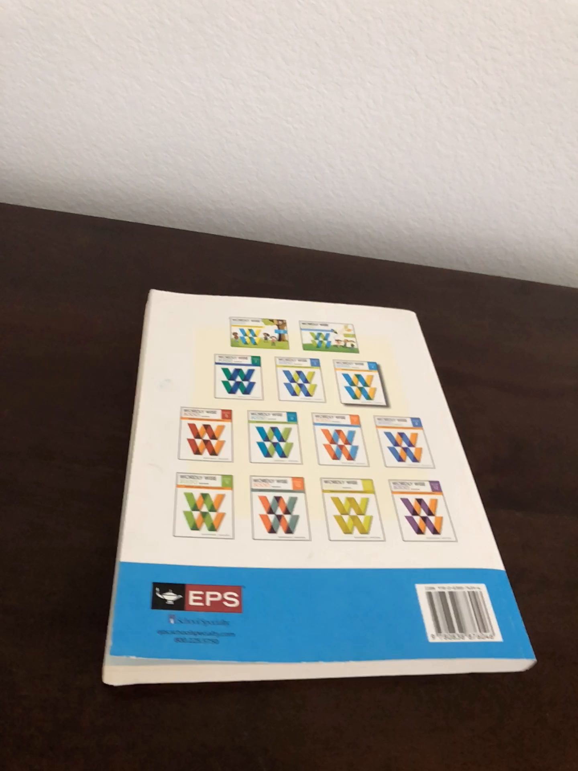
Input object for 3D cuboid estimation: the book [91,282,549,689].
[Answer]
[{"bbox_3d":[0.009,0.039,0.405,0.220,0.031,0.272,3,46,-9],"label":"book"}]
